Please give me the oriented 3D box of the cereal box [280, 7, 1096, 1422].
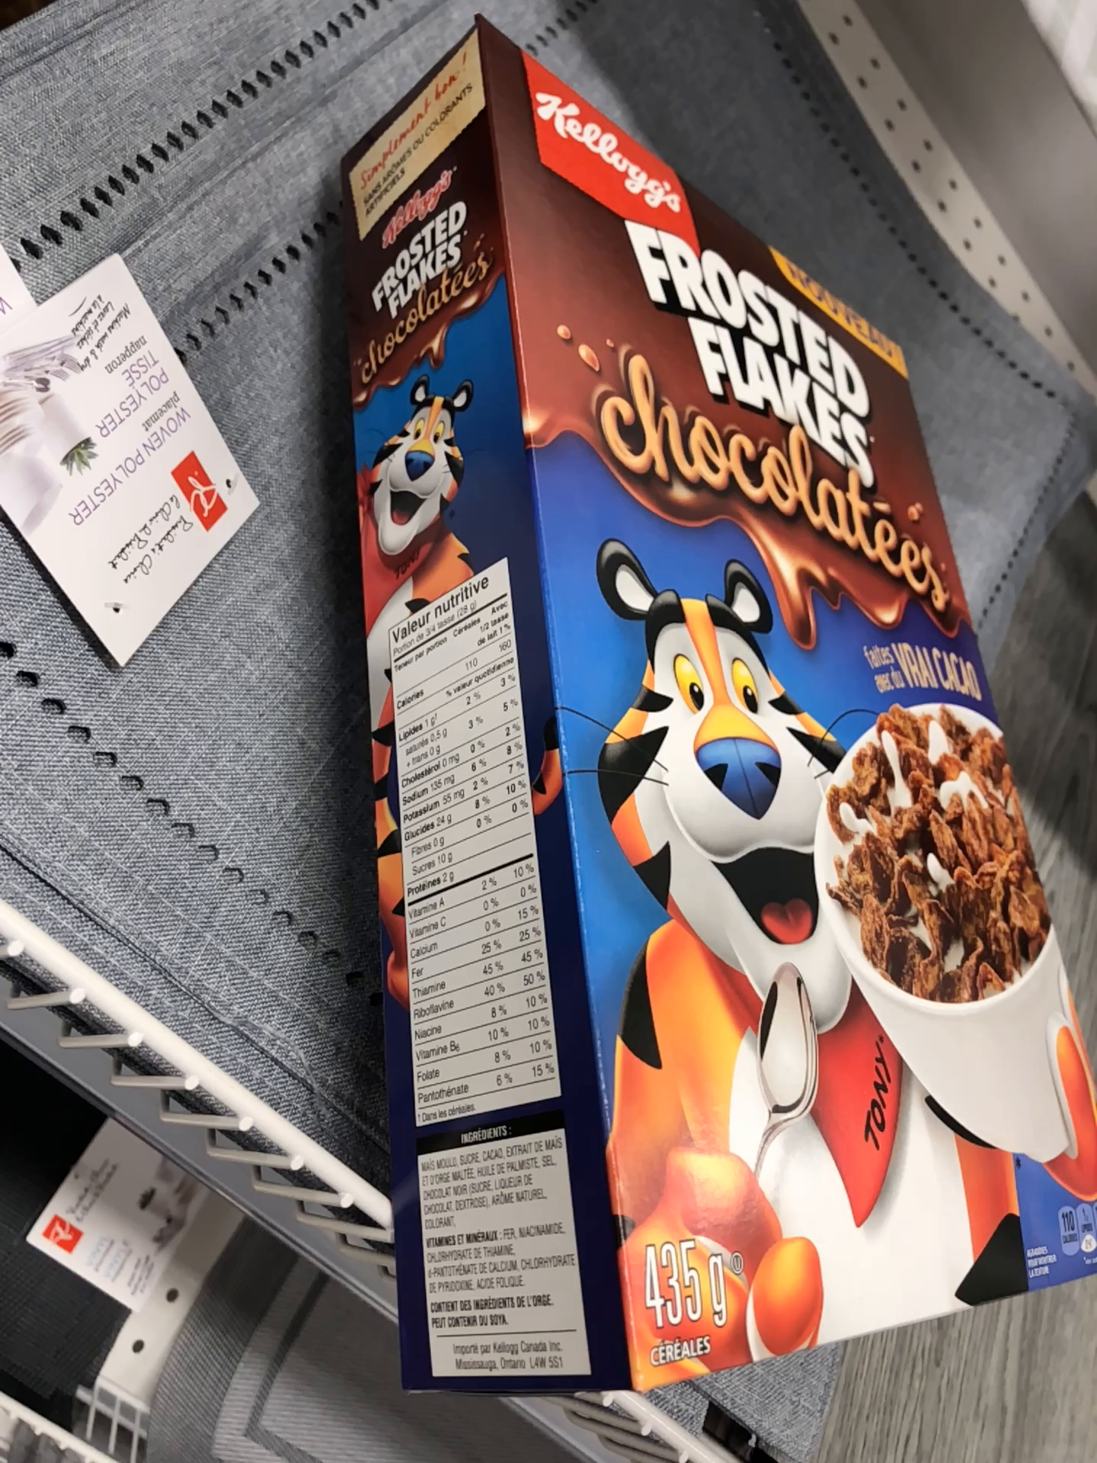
[{"bbox_3d":[0.041,-0.006,0.339,0.211,0.070,0.310,15,58,-43],"label":"cereal box"}]
